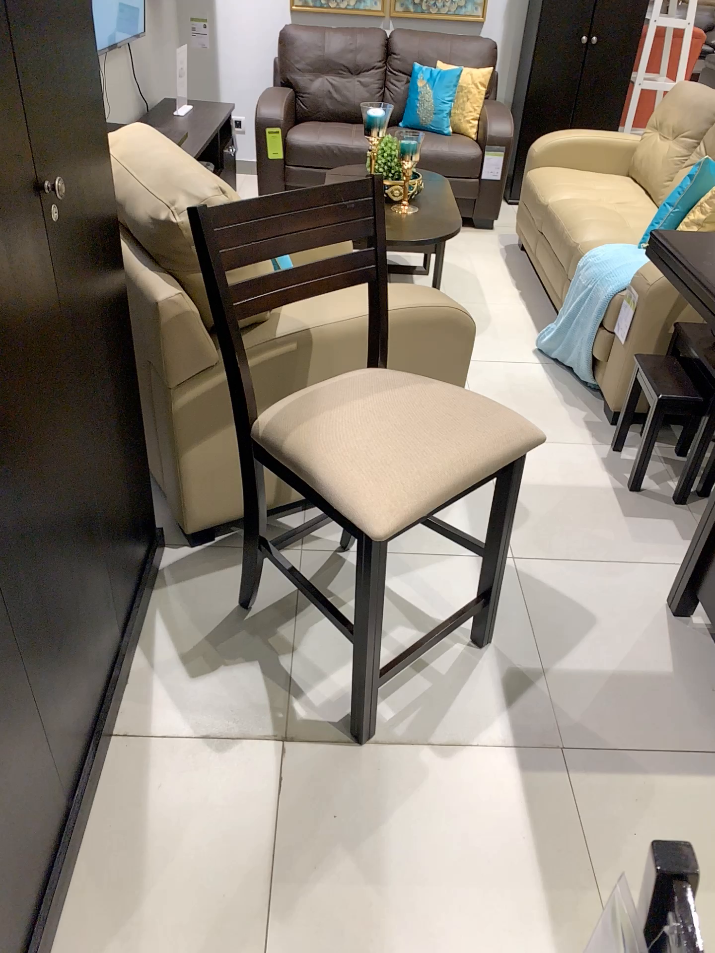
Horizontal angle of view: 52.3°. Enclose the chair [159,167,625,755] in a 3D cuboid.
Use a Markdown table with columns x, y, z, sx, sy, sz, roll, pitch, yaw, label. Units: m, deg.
| x | y | z | sx | sy | sz | roll | pitch | yaw | label |
| --- | --- | --- | --- | --- | --- | --- | --- | --- | --- |
| 0.026 | -0.054 | 1.488 | 0.521 | 0.916 | 0.591 | -27 | 46 | -37 | chair |
